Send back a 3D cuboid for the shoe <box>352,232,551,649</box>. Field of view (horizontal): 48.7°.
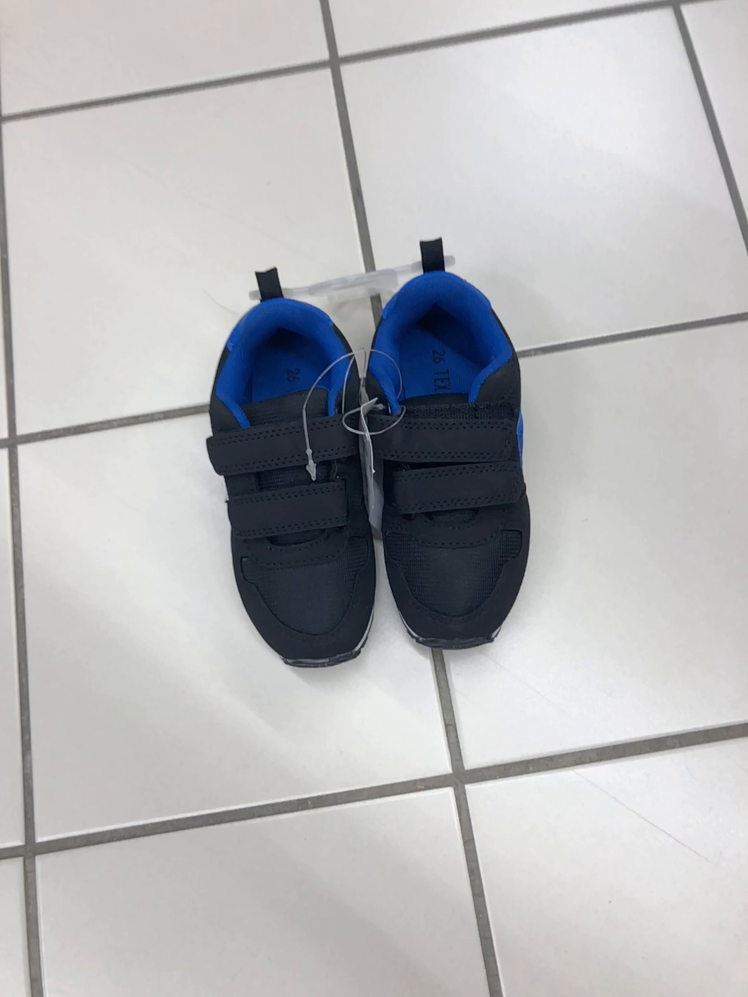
[{"bbox_3d":[0.032,-0.023,0.383,0.067,0.073,0.174,-5,75,2],"label":"shoe"}]

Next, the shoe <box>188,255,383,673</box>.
[{"bbox_3d":[-0.040,-0.013,0.384,0.067,0.073,0.174,-6,75,2],"label":"shoe"}]
